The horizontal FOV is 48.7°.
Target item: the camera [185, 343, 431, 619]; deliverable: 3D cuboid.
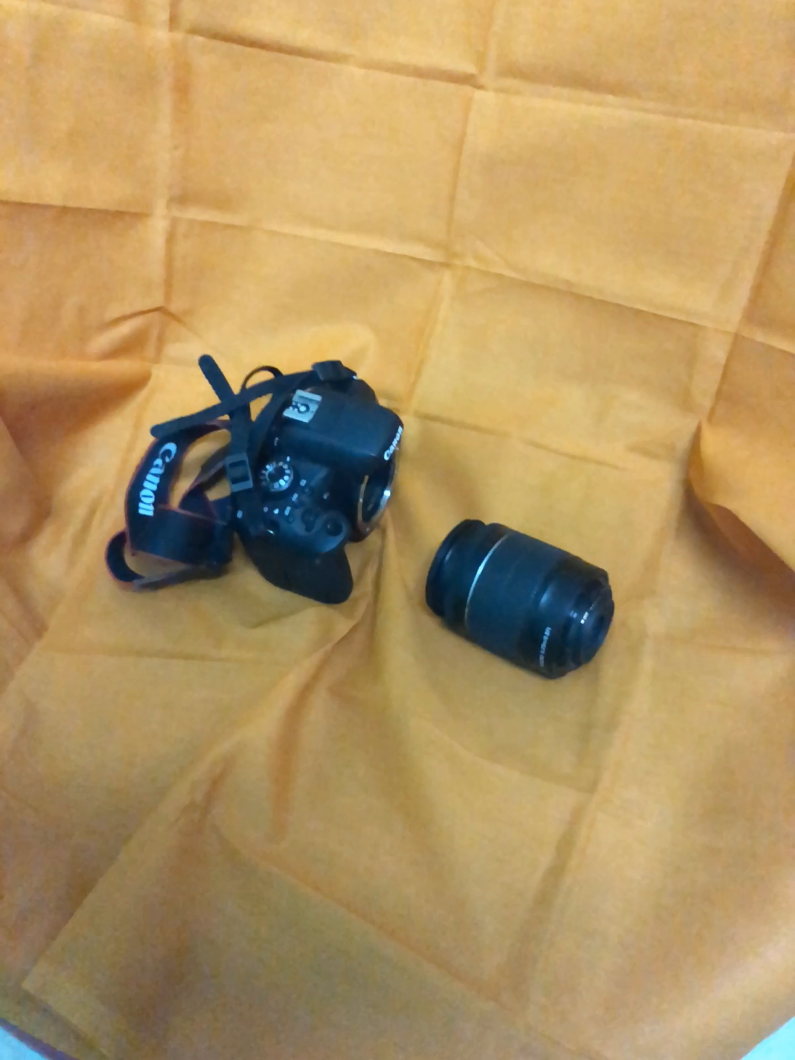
[{"bbox_3d":[-0.048,-0.032,0.539,0.092,0.071,0.134,18,60,15],"label":"camera"}]
